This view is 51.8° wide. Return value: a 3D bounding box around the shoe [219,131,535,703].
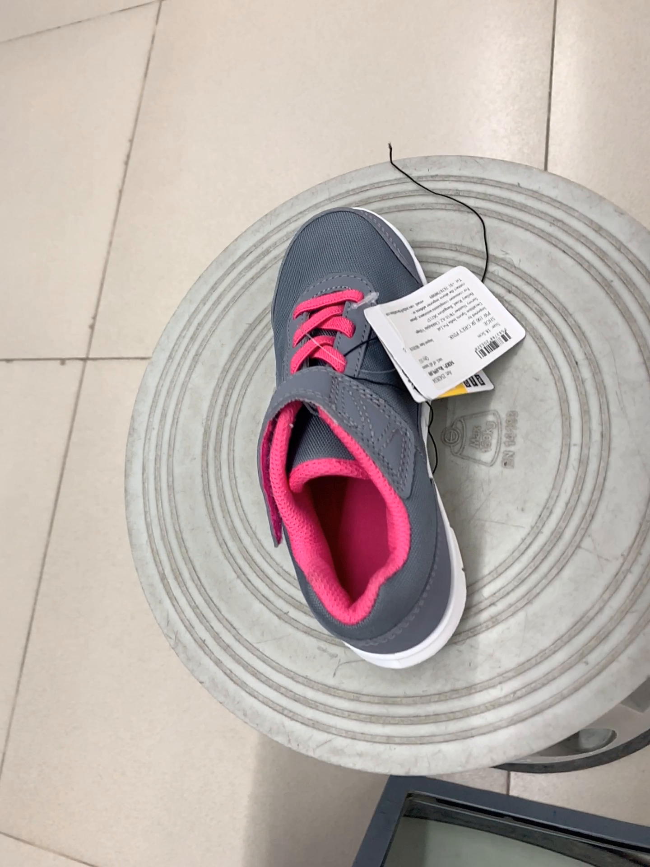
[{"bbox_3d":[0.020,0.000,0.245,0.070,0.090,0.170,-13,71,19],"label":"shoe"}]
